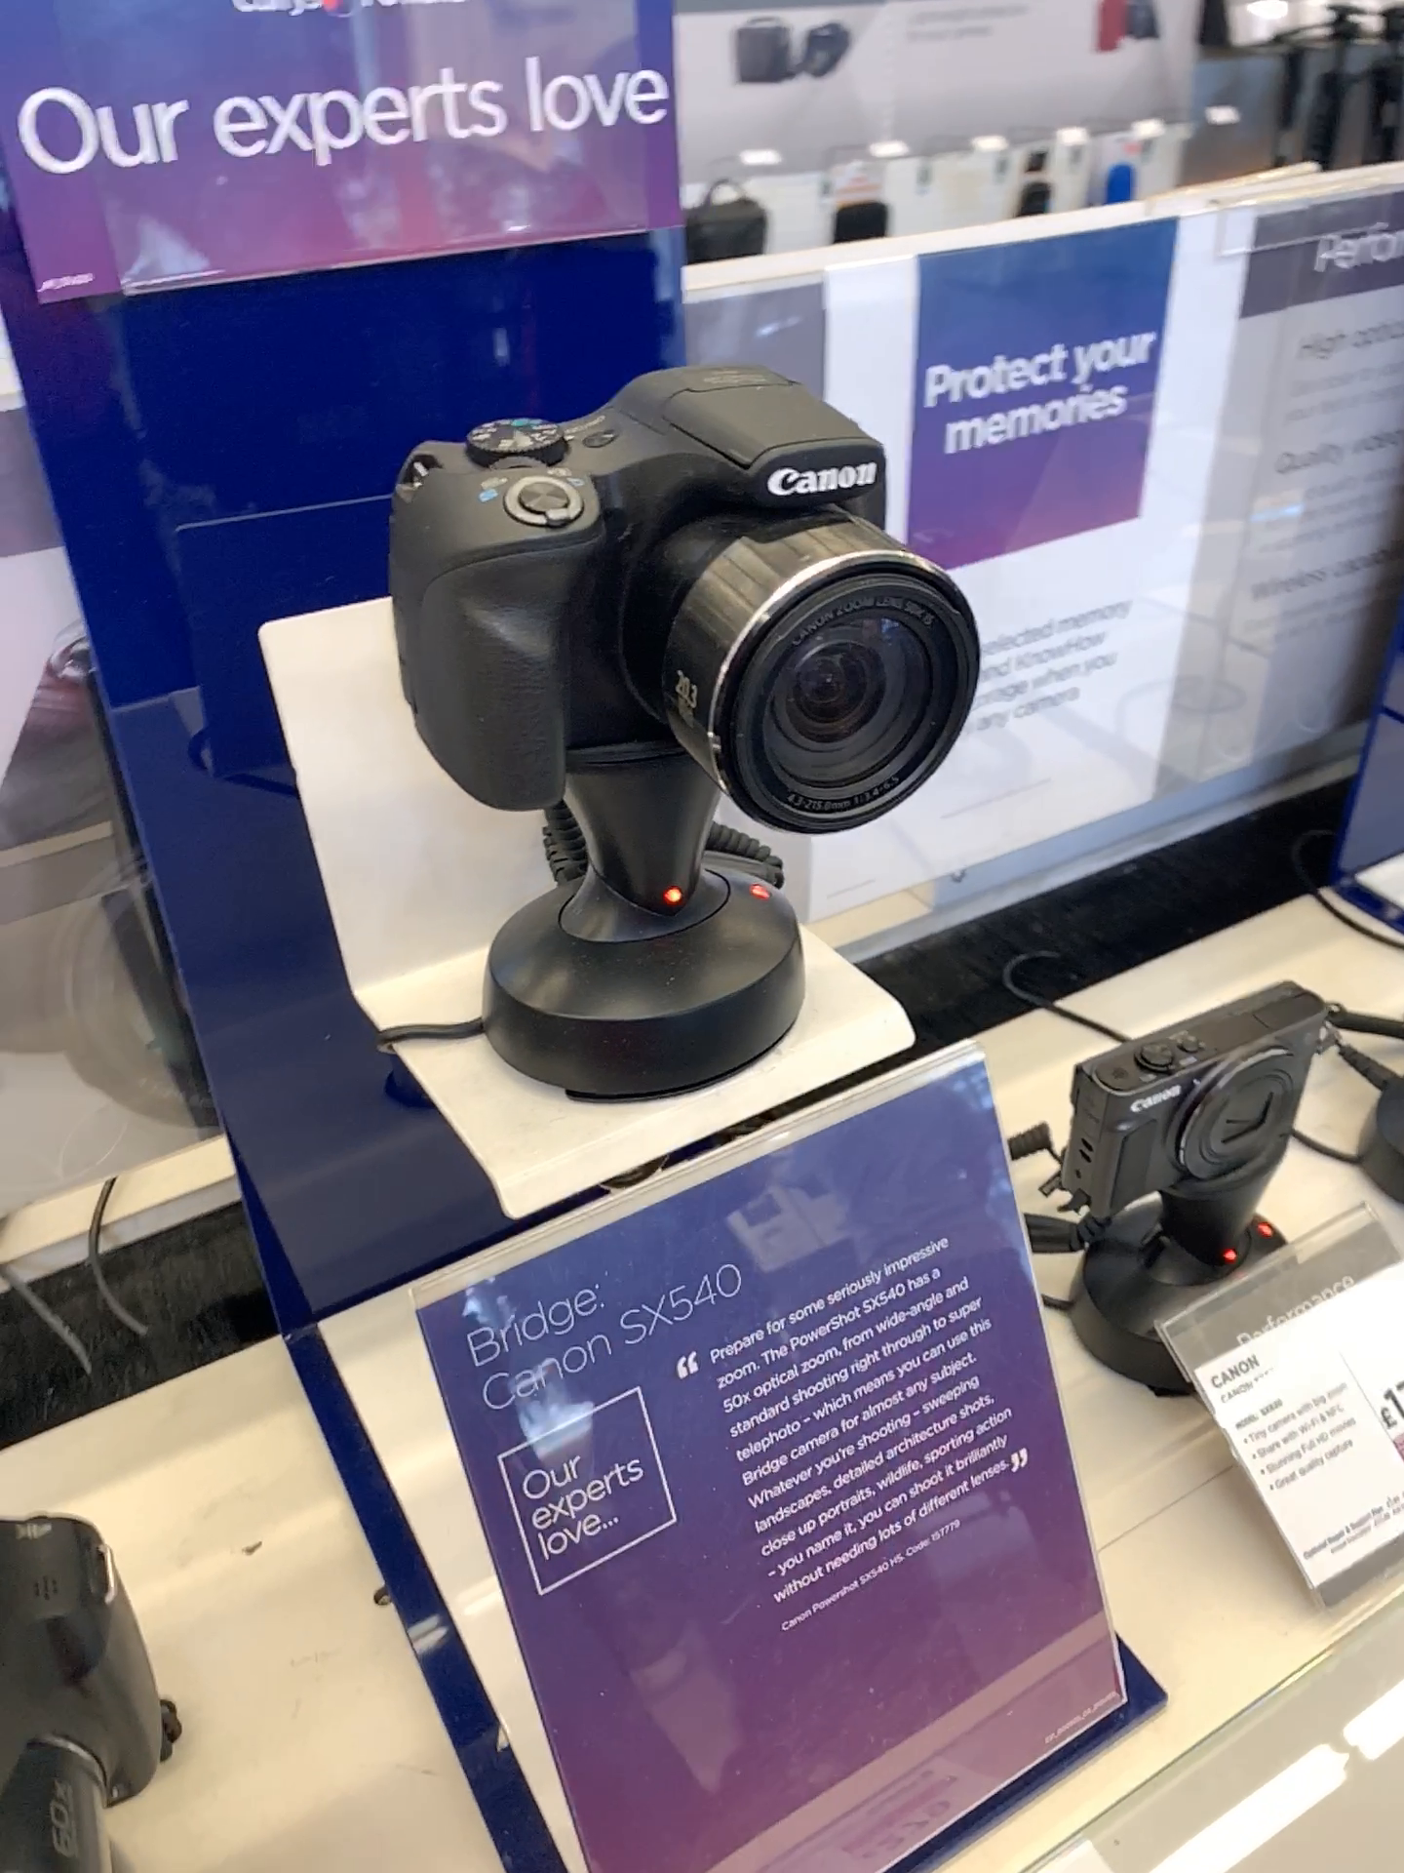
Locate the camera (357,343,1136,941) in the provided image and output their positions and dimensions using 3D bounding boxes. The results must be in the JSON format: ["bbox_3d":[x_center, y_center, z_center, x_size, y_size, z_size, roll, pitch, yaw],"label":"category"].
[{"bbox_3d":[0.003,-0.071,0.308,0.120,0.069,0.111,-15,37,-19],"label":"camera"}]
